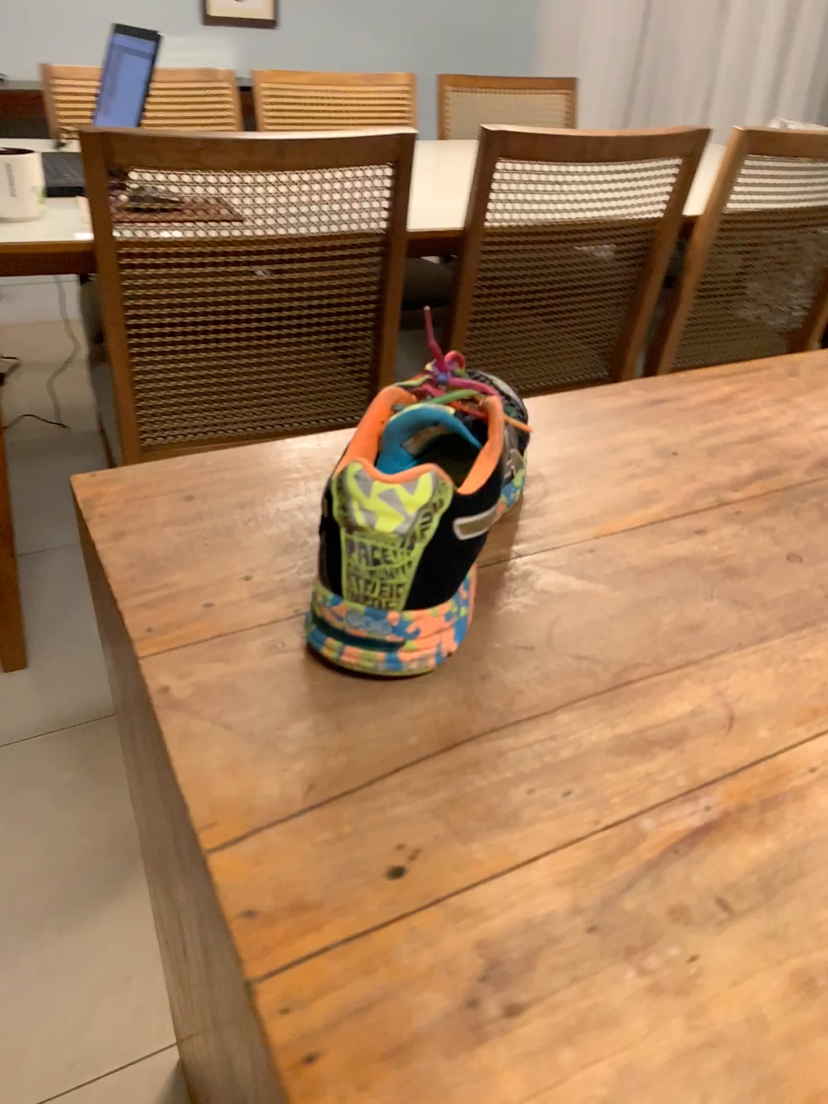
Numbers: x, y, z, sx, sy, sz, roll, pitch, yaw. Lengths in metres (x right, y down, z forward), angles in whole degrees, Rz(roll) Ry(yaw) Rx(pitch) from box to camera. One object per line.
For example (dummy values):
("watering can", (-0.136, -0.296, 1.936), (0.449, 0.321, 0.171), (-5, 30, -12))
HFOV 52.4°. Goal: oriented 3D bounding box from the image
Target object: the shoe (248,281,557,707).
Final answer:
("shoe", (0.013, -0.063, 0.514), (0.107, 0.112, 0.314), (9, 33, 9))
